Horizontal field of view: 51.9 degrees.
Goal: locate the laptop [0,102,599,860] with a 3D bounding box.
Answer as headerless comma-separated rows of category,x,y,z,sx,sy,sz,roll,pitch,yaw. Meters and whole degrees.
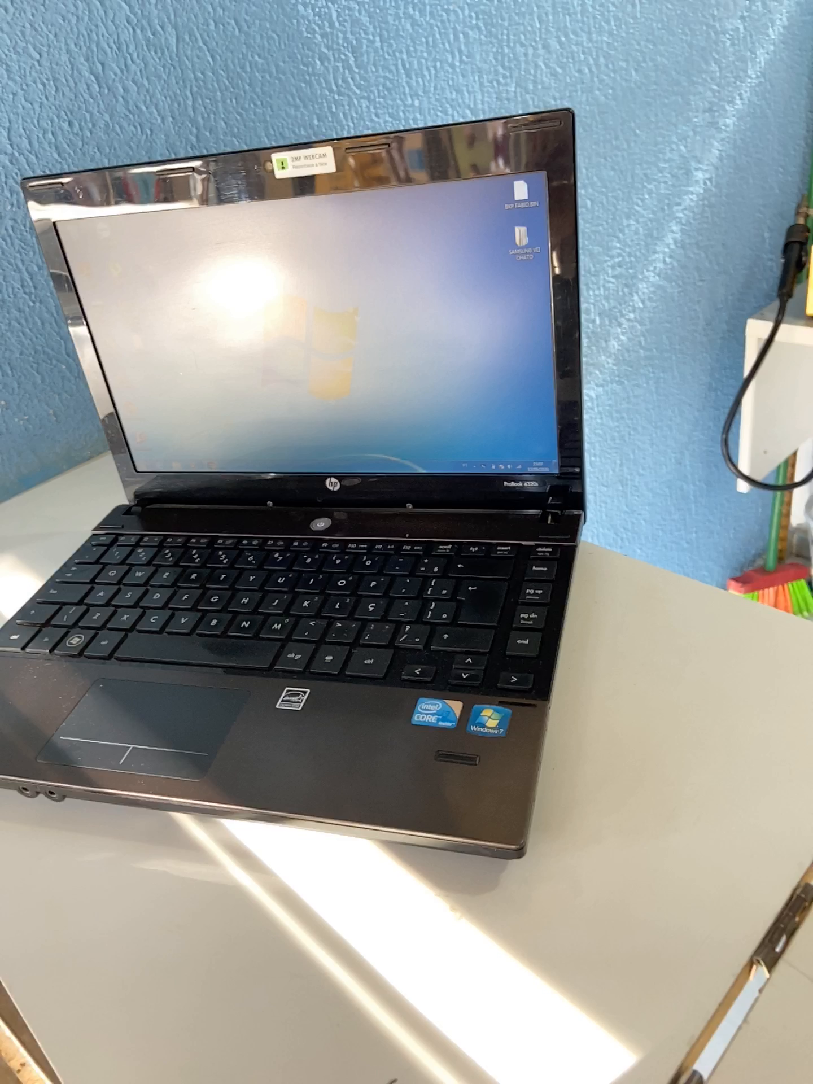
laptop,-0.091,-0.050,0.406,0.321,0.207,0.260,1,35,20
